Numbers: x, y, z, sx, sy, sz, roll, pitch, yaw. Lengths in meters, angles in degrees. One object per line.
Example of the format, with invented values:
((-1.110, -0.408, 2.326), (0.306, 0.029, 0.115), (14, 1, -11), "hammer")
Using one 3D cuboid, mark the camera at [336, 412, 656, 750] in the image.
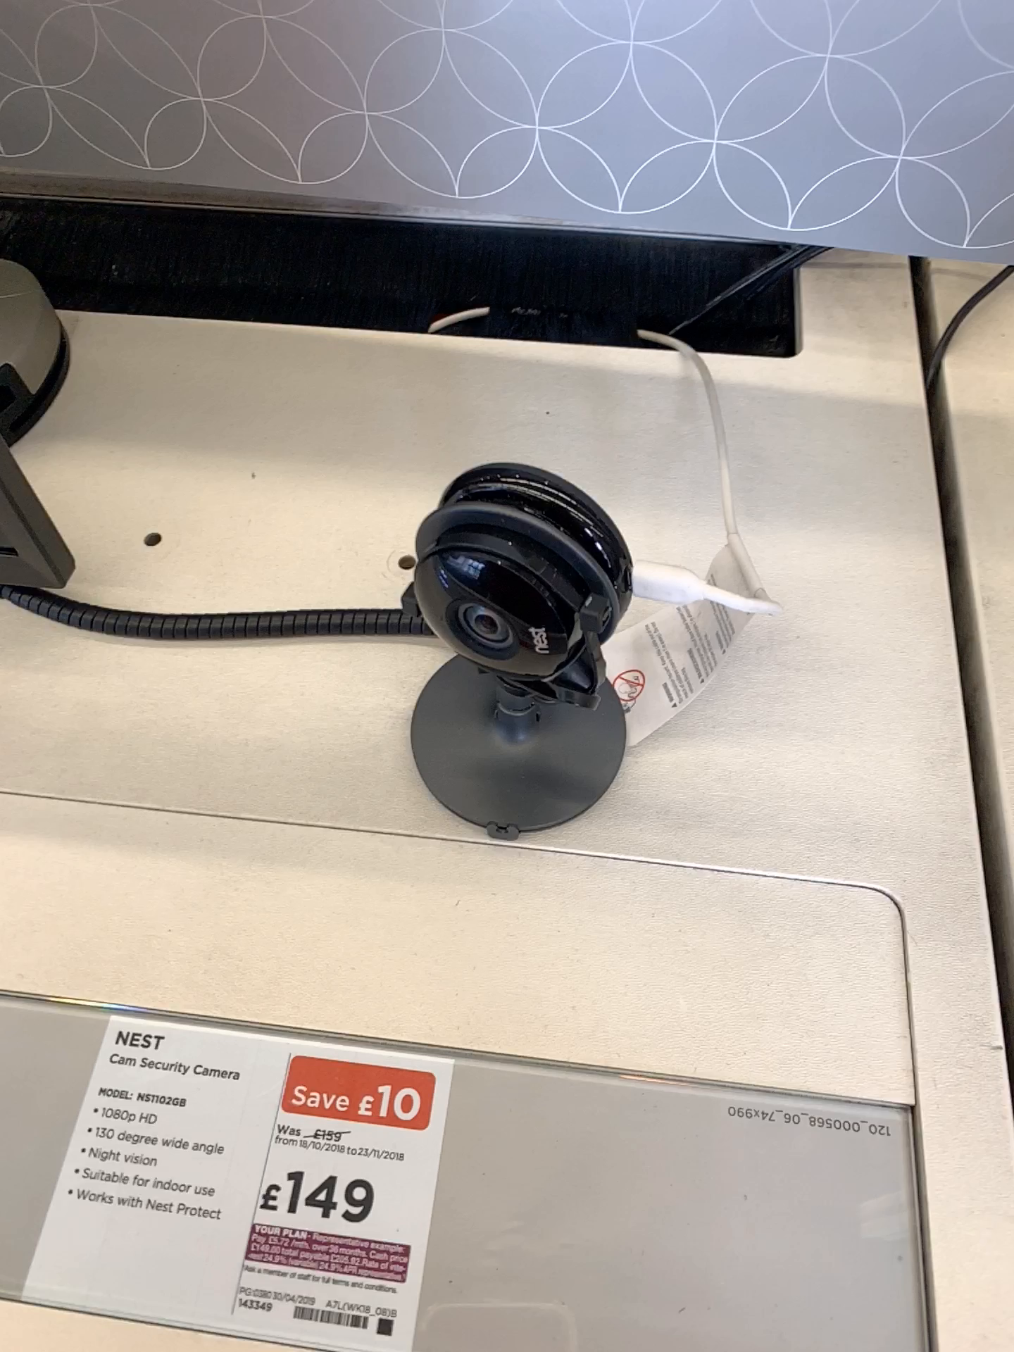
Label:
((-0.001, -0.024, 0.268), (0.060, 0.050, 0.050), (22, 61, 15), "camera")
